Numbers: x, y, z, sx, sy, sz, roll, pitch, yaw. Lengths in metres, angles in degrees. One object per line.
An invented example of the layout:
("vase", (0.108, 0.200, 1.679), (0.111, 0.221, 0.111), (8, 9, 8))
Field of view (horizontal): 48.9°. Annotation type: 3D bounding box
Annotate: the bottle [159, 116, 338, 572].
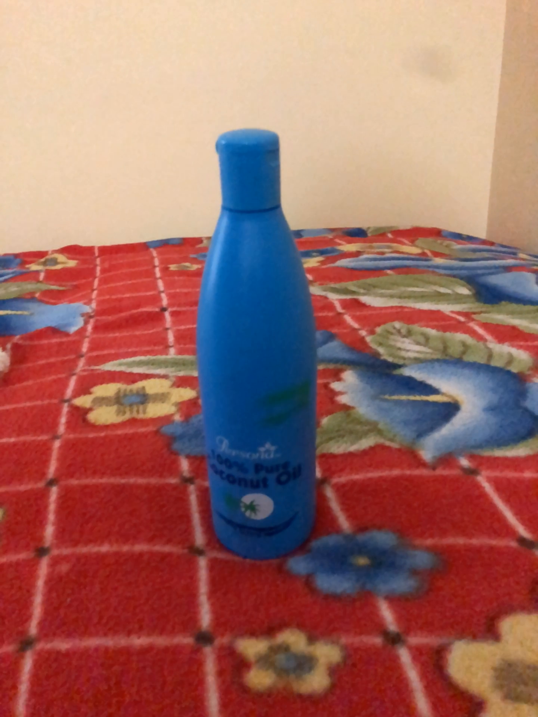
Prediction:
("bottle", (-0.001, -0.001, 0.313), (0.070, 0.229, 0.070), (-2, 26, 1))
